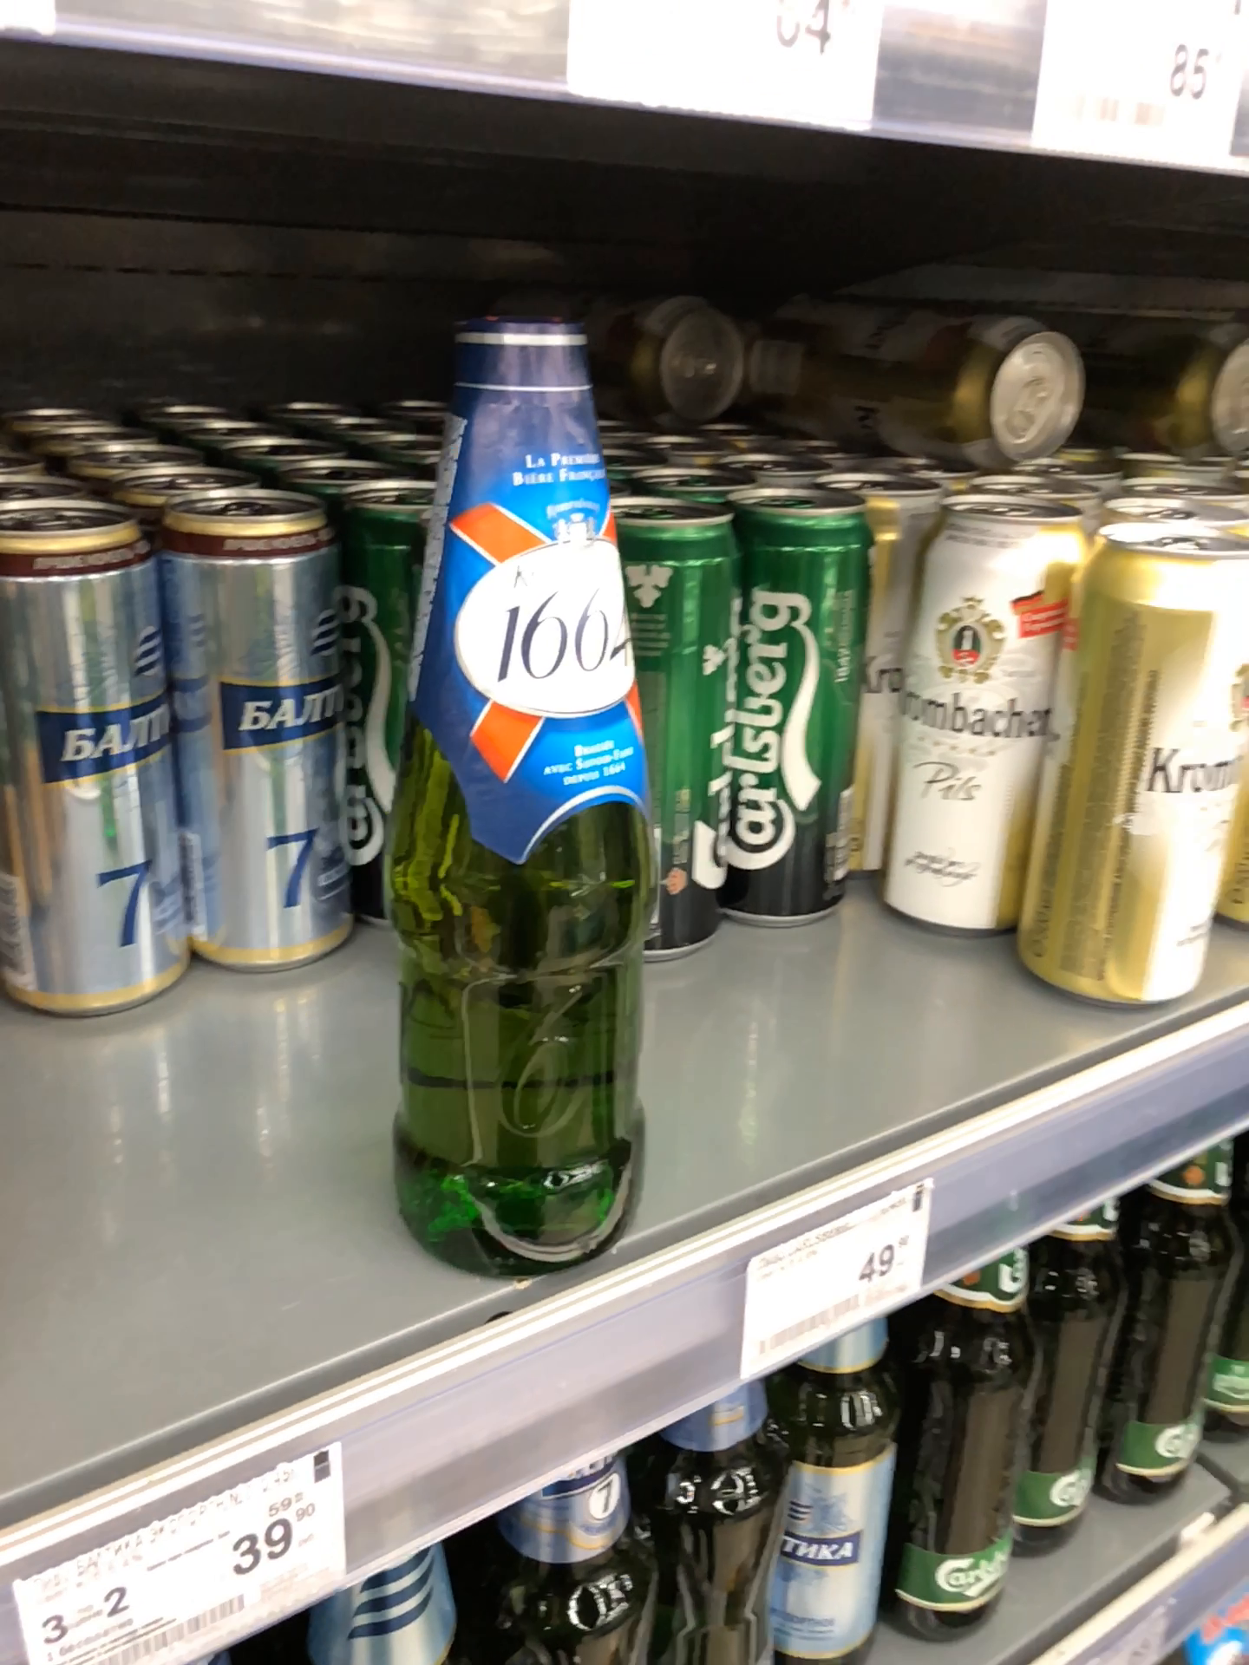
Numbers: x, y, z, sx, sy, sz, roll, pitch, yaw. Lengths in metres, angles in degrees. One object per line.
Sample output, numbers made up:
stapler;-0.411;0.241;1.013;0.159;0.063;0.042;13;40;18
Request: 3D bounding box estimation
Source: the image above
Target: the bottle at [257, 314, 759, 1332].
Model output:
bottle;-0.032;-0.006;0.347;0.080;0.229;0.080;2;21;-1
